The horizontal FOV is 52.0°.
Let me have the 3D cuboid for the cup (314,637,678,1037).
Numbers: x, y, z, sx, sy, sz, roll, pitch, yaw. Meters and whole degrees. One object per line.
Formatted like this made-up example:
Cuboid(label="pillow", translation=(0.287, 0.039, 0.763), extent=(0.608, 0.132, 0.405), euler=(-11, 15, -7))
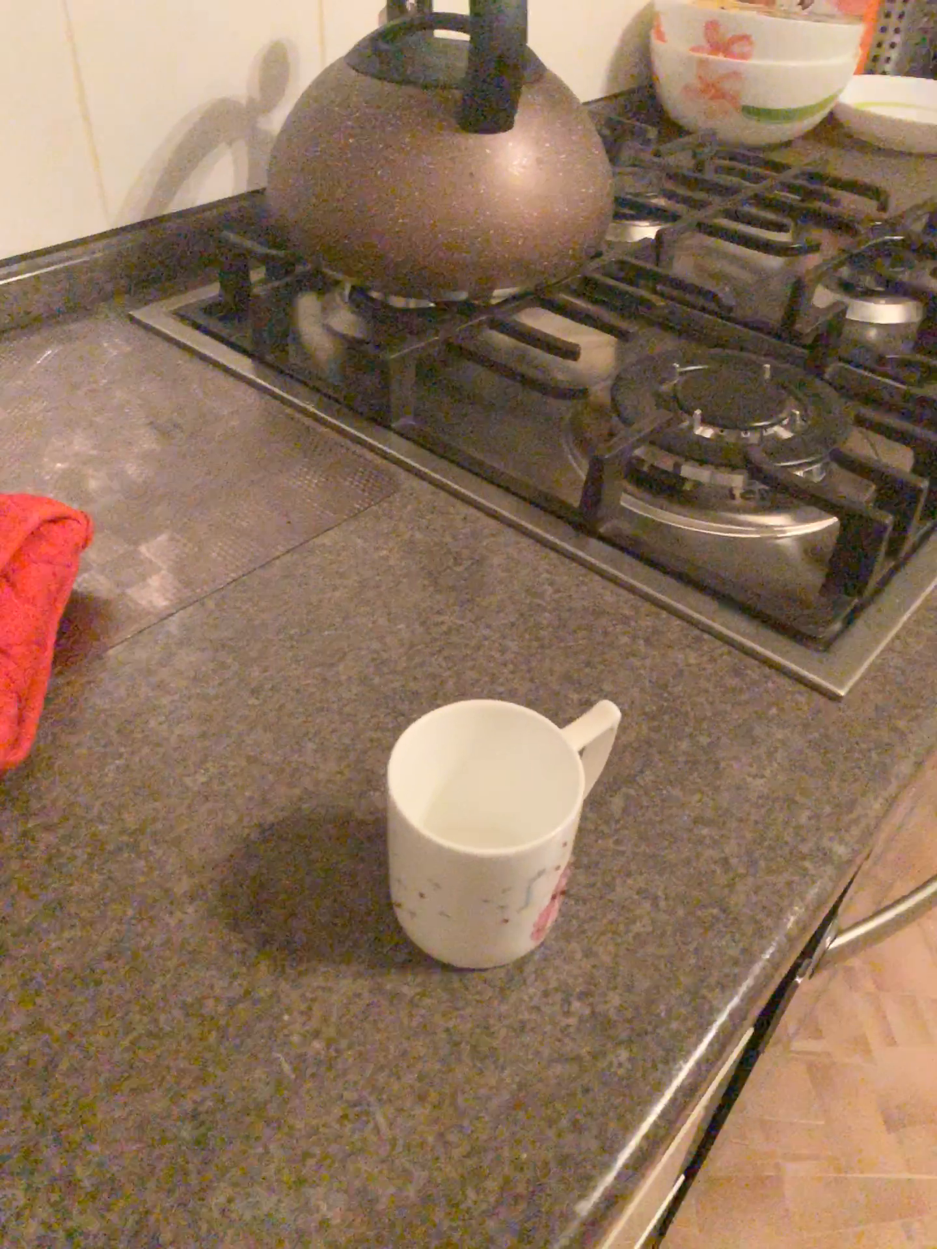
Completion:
Cuboid(label="cup", translation=(0.008, 0.064, 0.305), extent=(0.090, 0.069, 0.060), euler=(-27, 49, -30))
